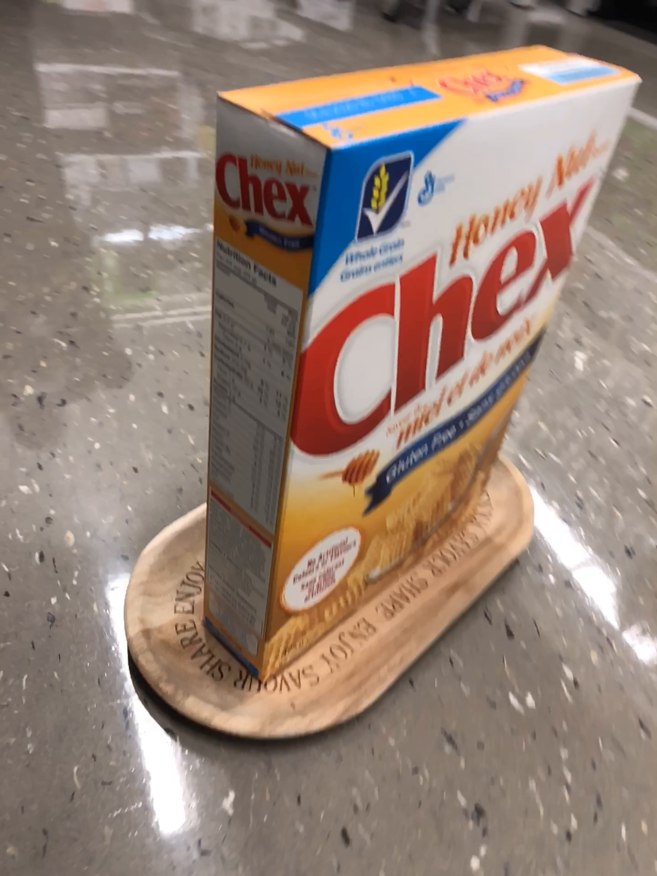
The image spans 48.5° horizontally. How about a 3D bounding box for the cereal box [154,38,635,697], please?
[{"bbox_3d":[0.025,-0.030,0.363,0.060,0.279,0.211,36,47,29],"label":"cereal box"}]
